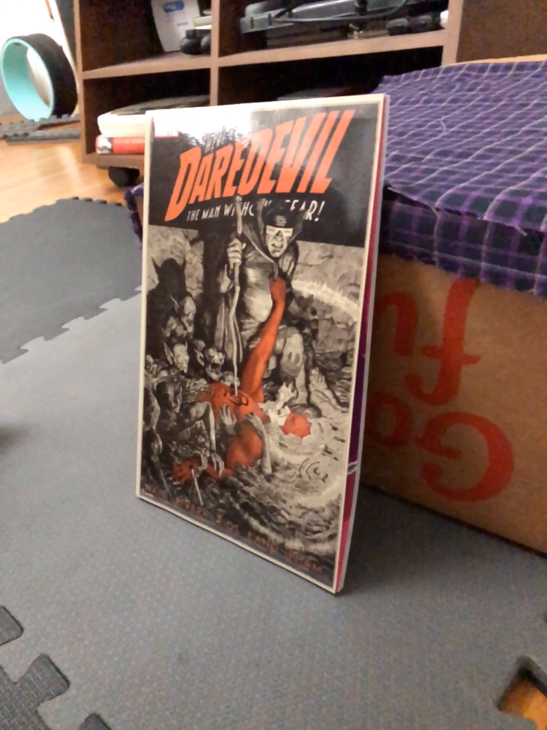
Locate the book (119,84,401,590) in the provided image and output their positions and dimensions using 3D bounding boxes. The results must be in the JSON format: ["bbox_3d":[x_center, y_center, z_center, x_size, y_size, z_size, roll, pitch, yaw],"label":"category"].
[{"bbox_3d":[-0.022,-0.019,0.324,0.160,0.229,0.020,14,17,36],"label":"book"}]
